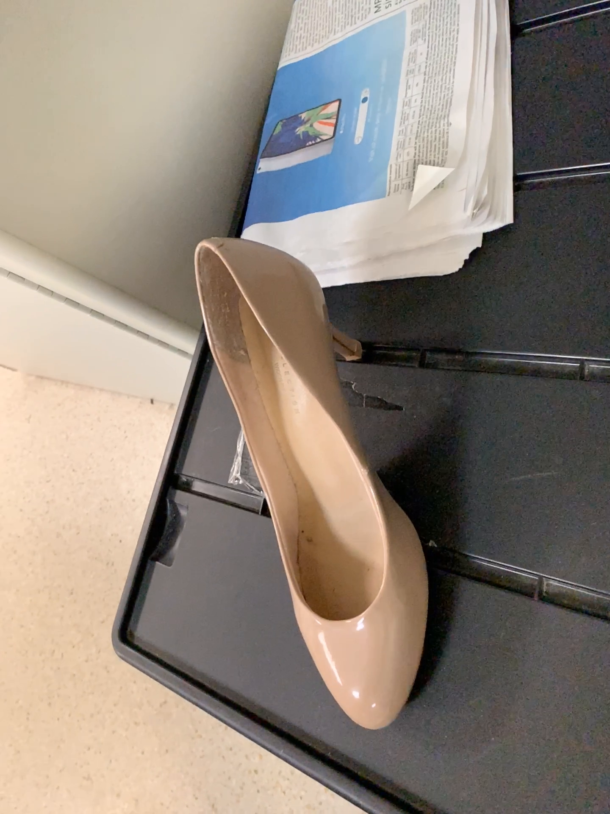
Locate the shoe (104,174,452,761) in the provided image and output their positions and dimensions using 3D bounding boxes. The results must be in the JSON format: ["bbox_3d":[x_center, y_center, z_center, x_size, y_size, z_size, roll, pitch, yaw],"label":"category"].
[{"bbox_3d":[0.000,0.033,0.331,0.097,0.141,0.240,-10,67,34],"label":"shoe"}]
